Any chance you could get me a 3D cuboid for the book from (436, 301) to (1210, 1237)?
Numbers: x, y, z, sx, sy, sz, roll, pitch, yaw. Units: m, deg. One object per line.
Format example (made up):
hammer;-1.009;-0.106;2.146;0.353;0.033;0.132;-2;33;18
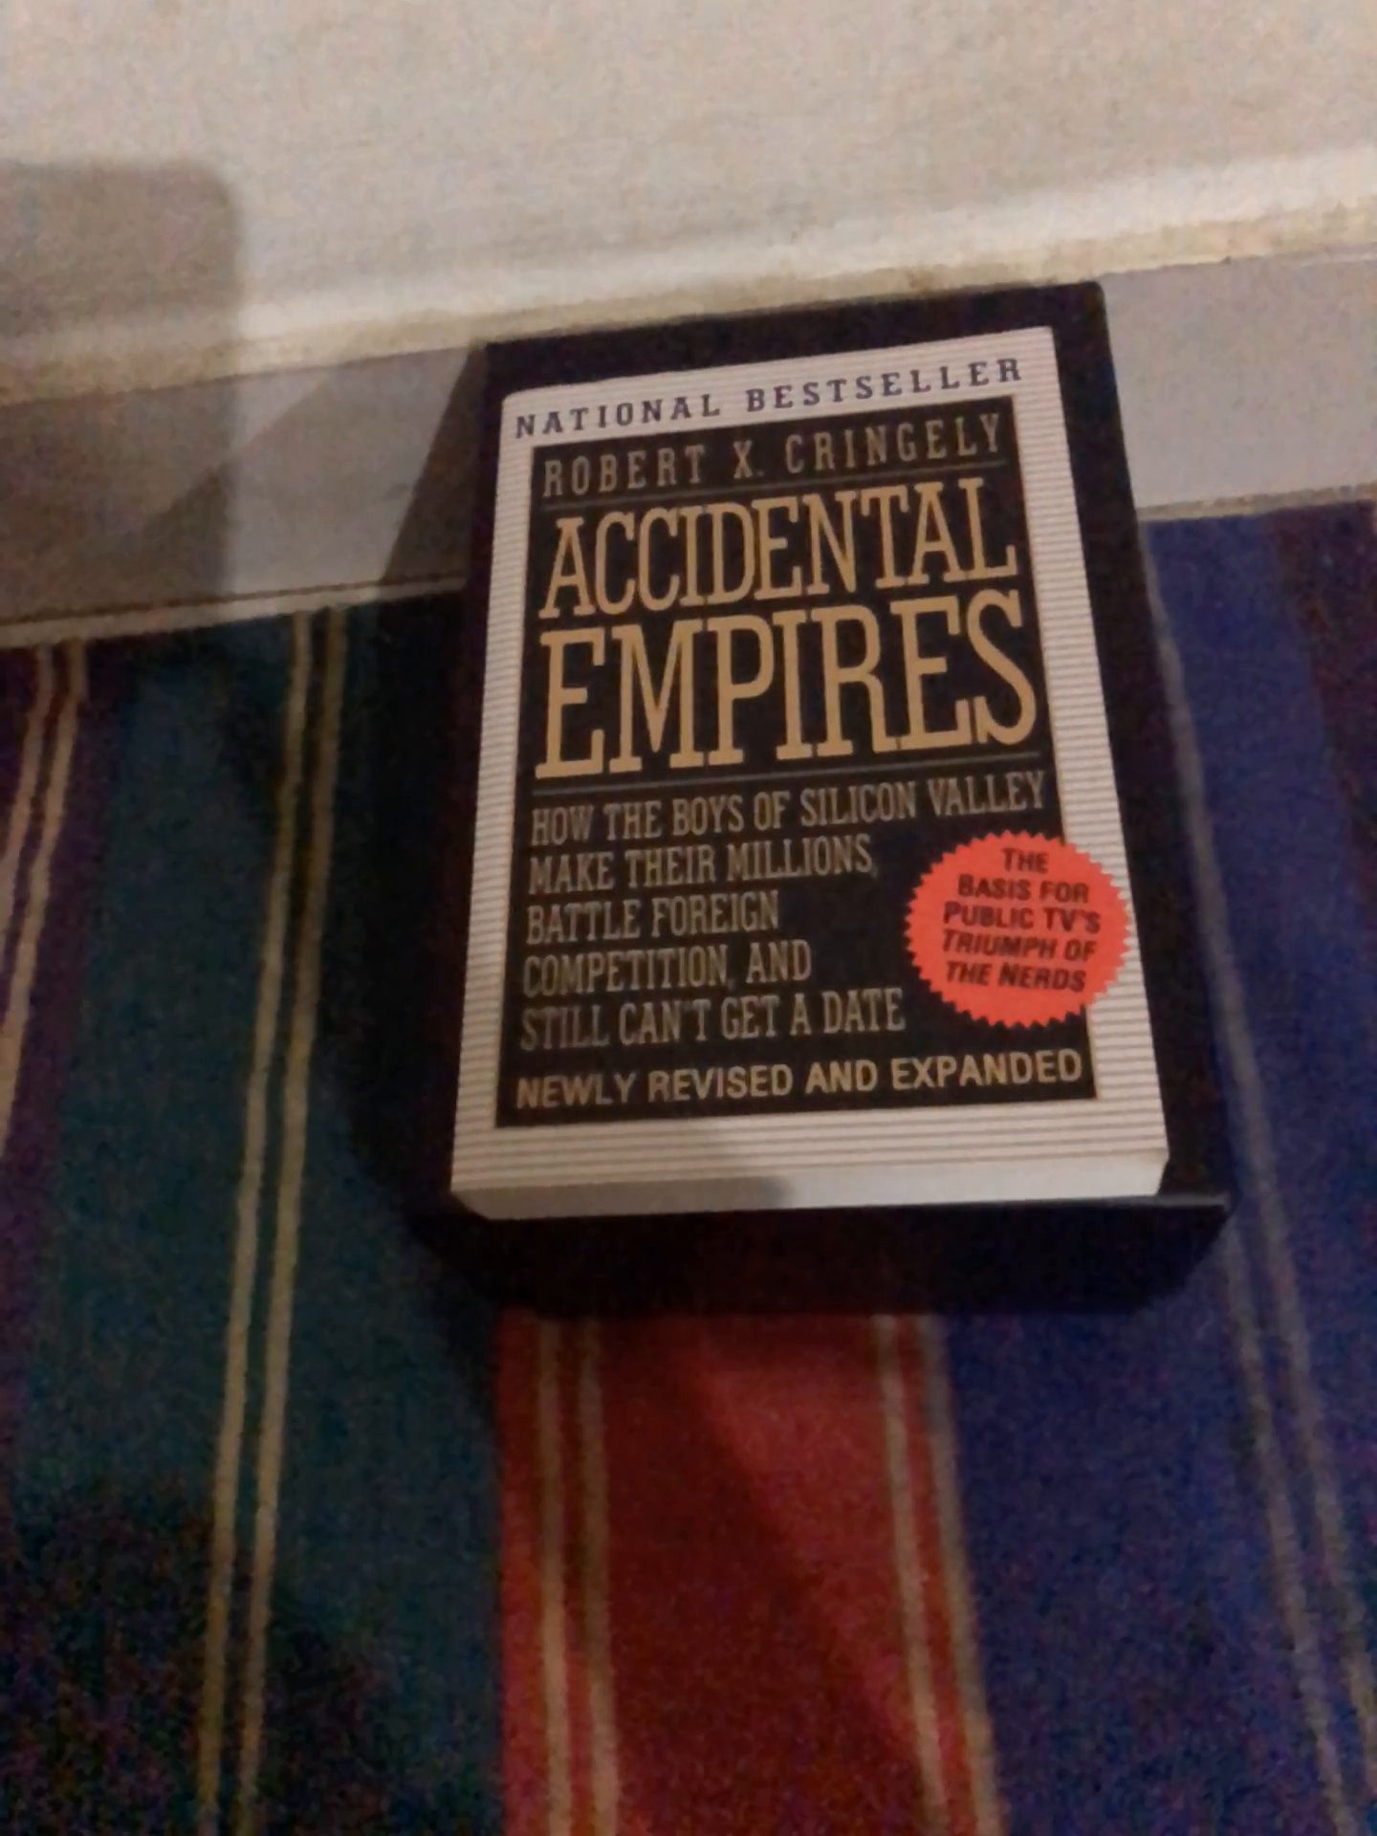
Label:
book;0.023;-0.036;0.318;0.130;0.040;0.190;-4;64;7
